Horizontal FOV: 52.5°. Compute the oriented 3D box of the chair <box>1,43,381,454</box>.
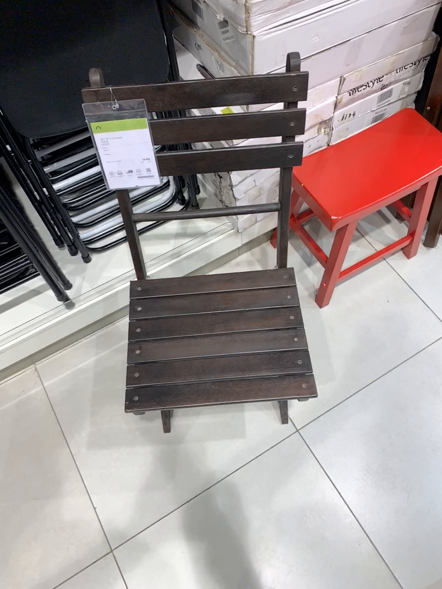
[{"bbox_3d":[-0.034,0.009,0.961,0.420,0.799,0.481,-4,61,0],"label":"chair"}]
